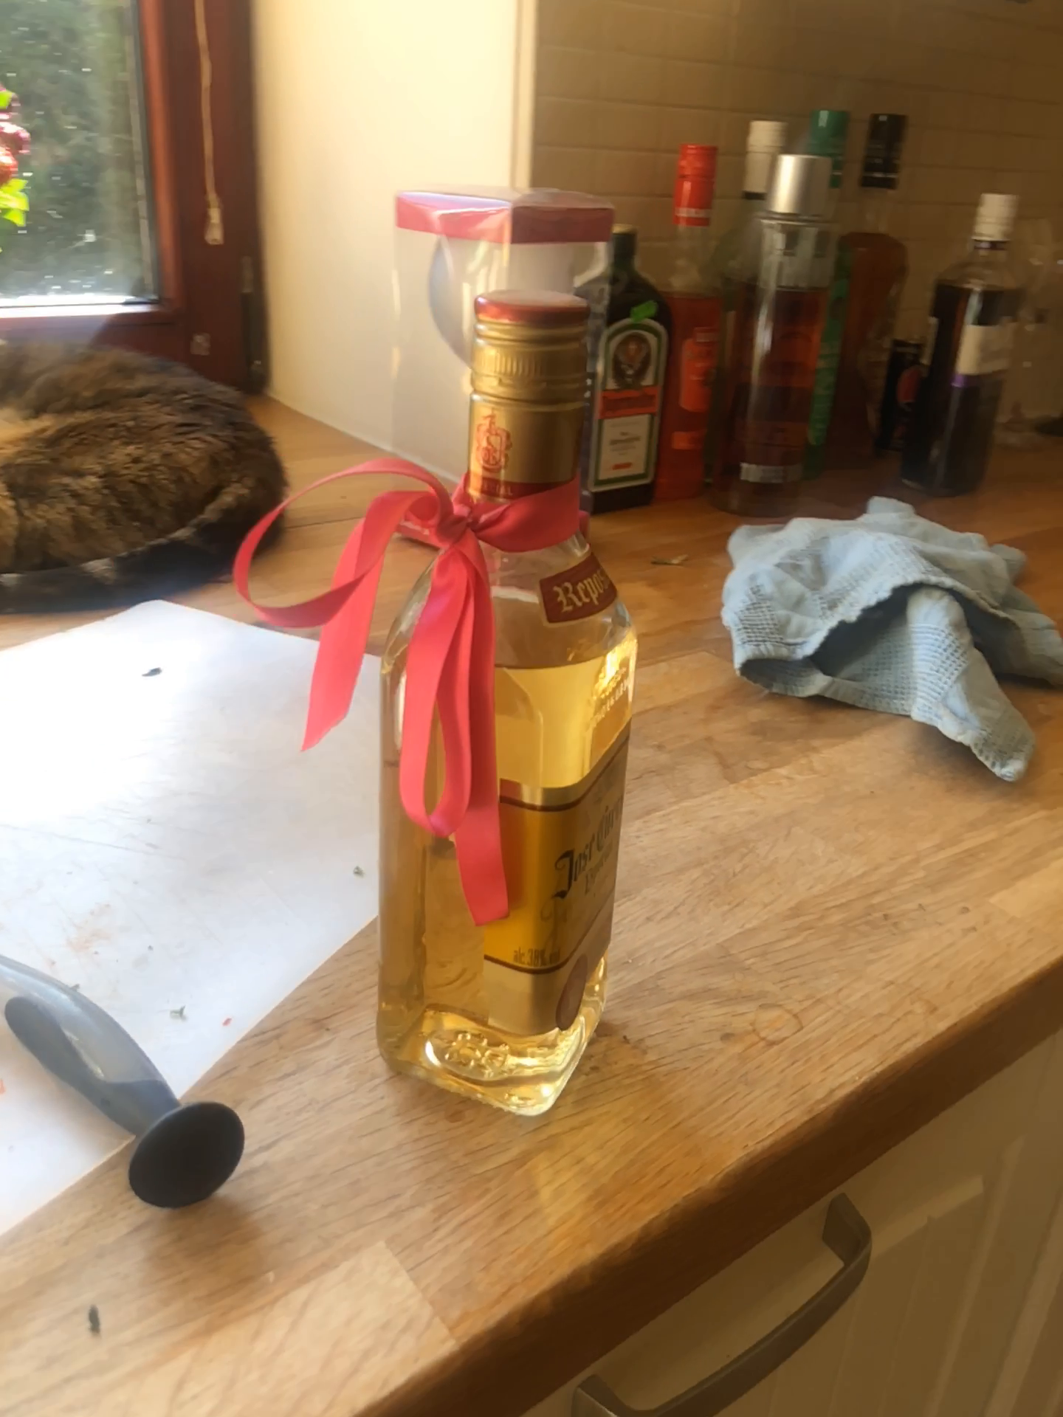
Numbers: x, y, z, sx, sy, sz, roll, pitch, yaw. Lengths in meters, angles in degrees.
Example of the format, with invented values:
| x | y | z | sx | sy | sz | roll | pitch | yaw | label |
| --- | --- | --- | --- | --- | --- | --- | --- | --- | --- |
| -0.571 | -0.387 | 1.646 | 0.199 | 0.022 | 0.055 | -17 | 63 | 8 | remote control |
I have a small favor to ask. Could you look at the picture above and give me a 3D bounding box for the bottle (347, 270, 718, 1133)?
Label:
| x | y | z | sx | sy | sz | roll | pitch | yaw | label |
| --- | --- | --- | --- | --- | --- | --- | --- | --- | --- |
| -0.002 | -0.001 | 0.342 | 0.070 | 0.228 | 0.081 | 12 | 26 | 17 | bottle |
